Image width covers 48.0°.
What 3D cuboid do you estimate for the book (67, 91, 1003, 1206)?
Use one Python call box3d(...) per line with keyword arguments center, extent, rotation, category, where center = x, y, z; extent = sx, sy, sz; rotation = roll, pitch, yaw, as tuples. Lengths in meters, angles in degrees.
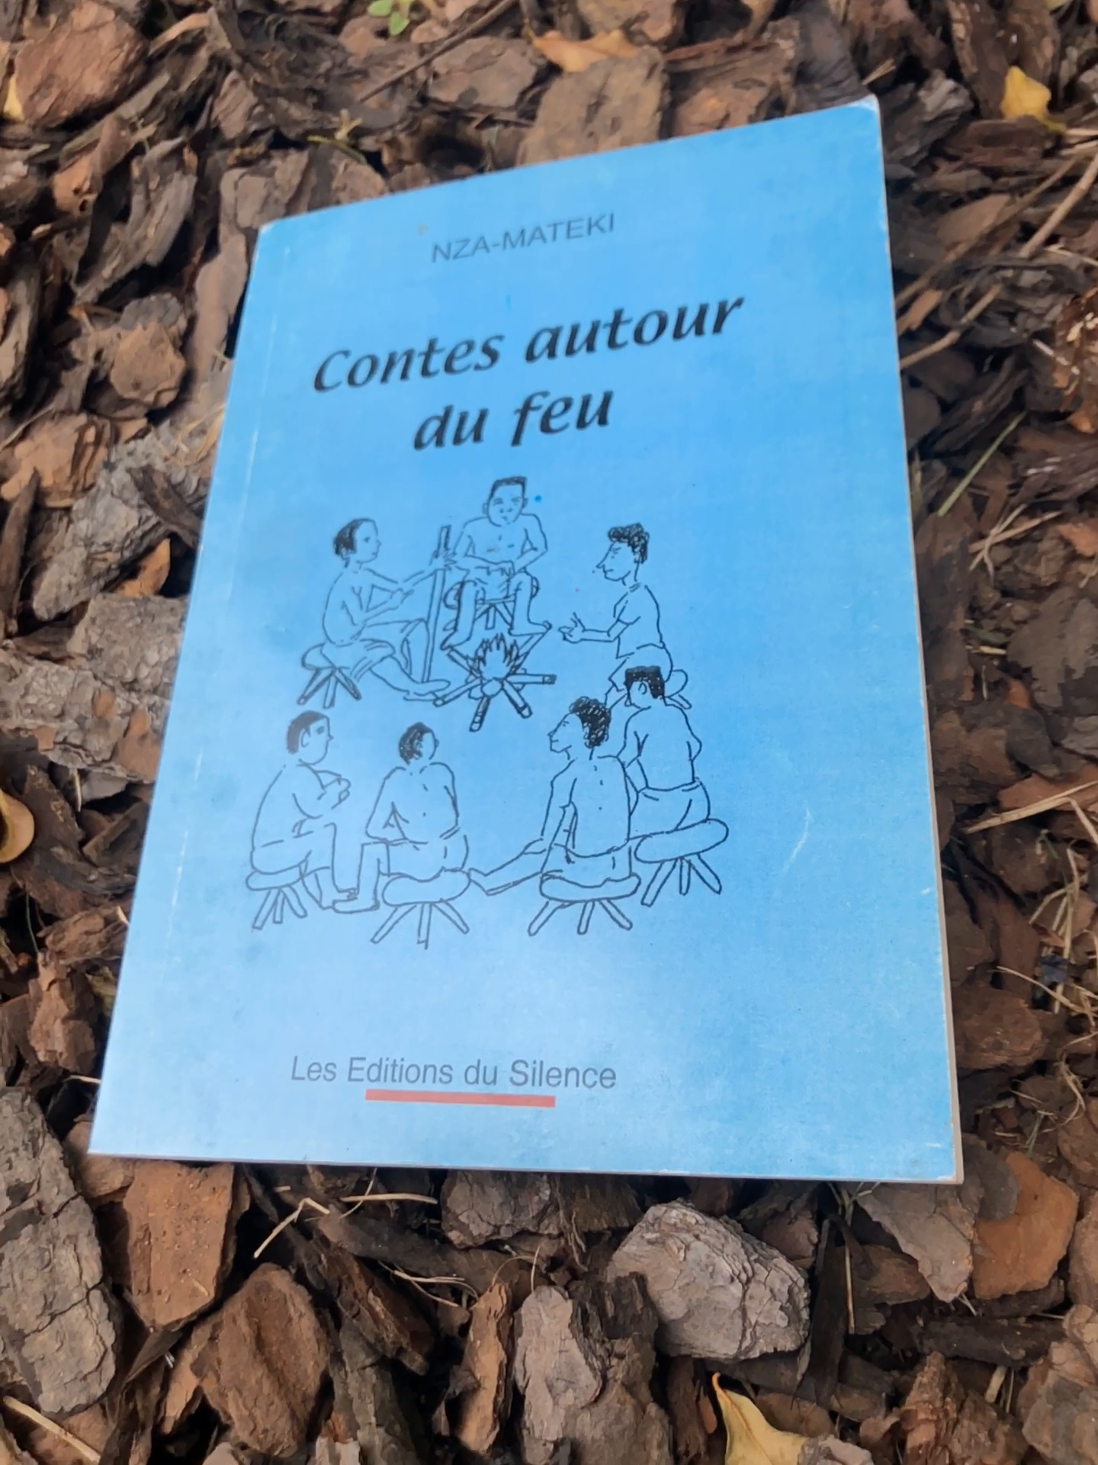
box3d(center=(-0.002, -0.025, 0.227), extent=(0.144, 0.015, 0.202), rotation=(-4, 66, 16), category="book")
